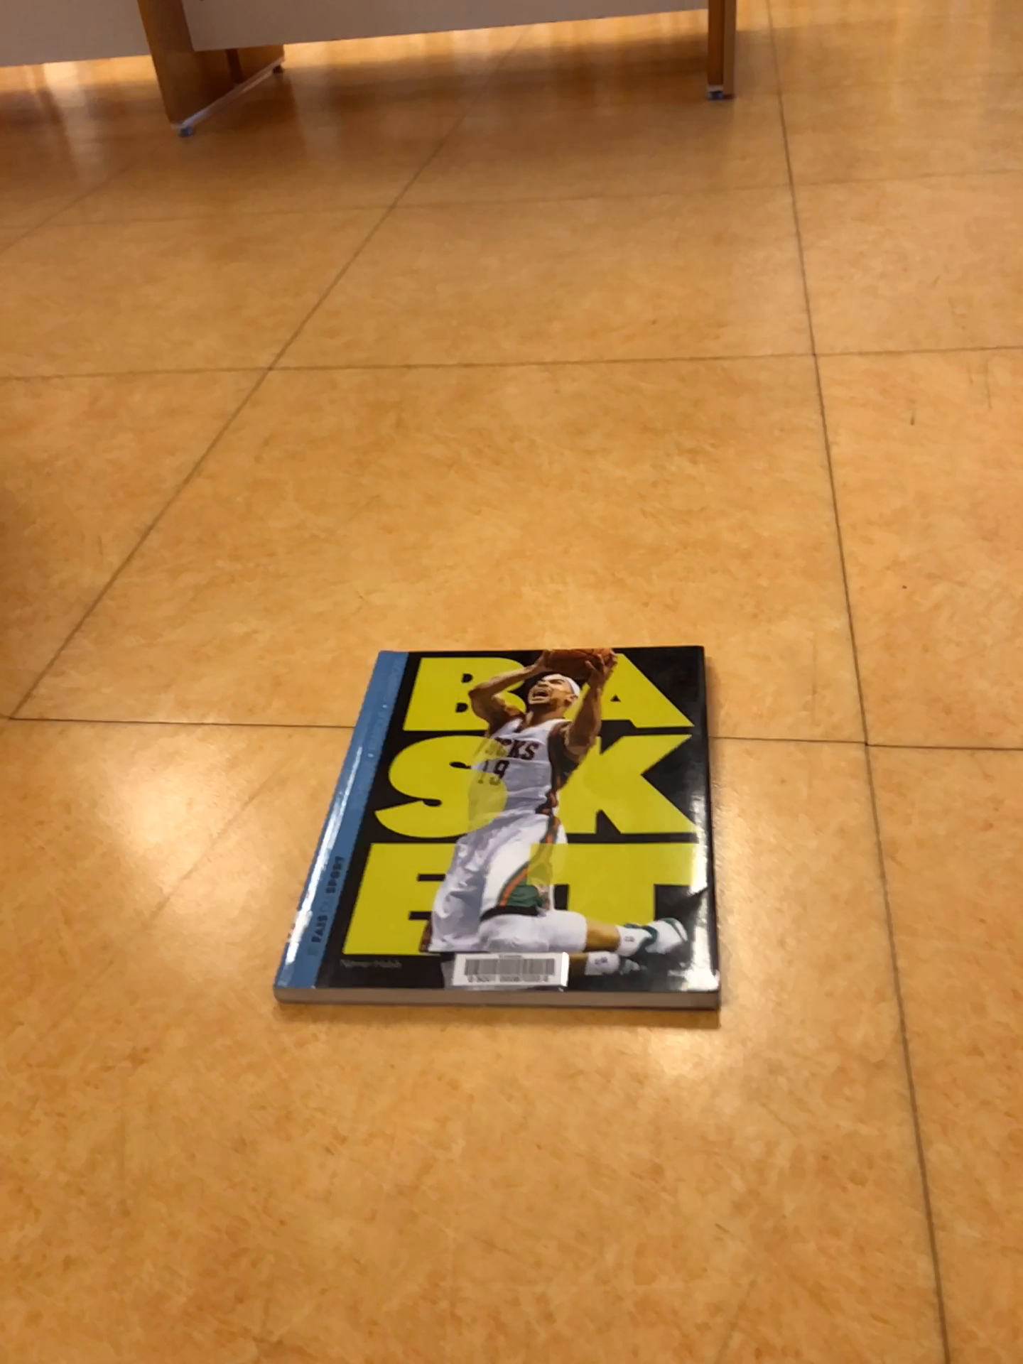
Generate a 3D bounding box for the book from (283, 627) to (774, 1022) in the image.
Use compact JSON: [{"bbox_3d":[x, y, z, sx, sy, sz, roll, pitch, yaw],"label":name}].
[{"bbox_3d":[0.016,0.055,0.557,0.200,0.020,0.246,-1,38,7],"label":"book"}]
